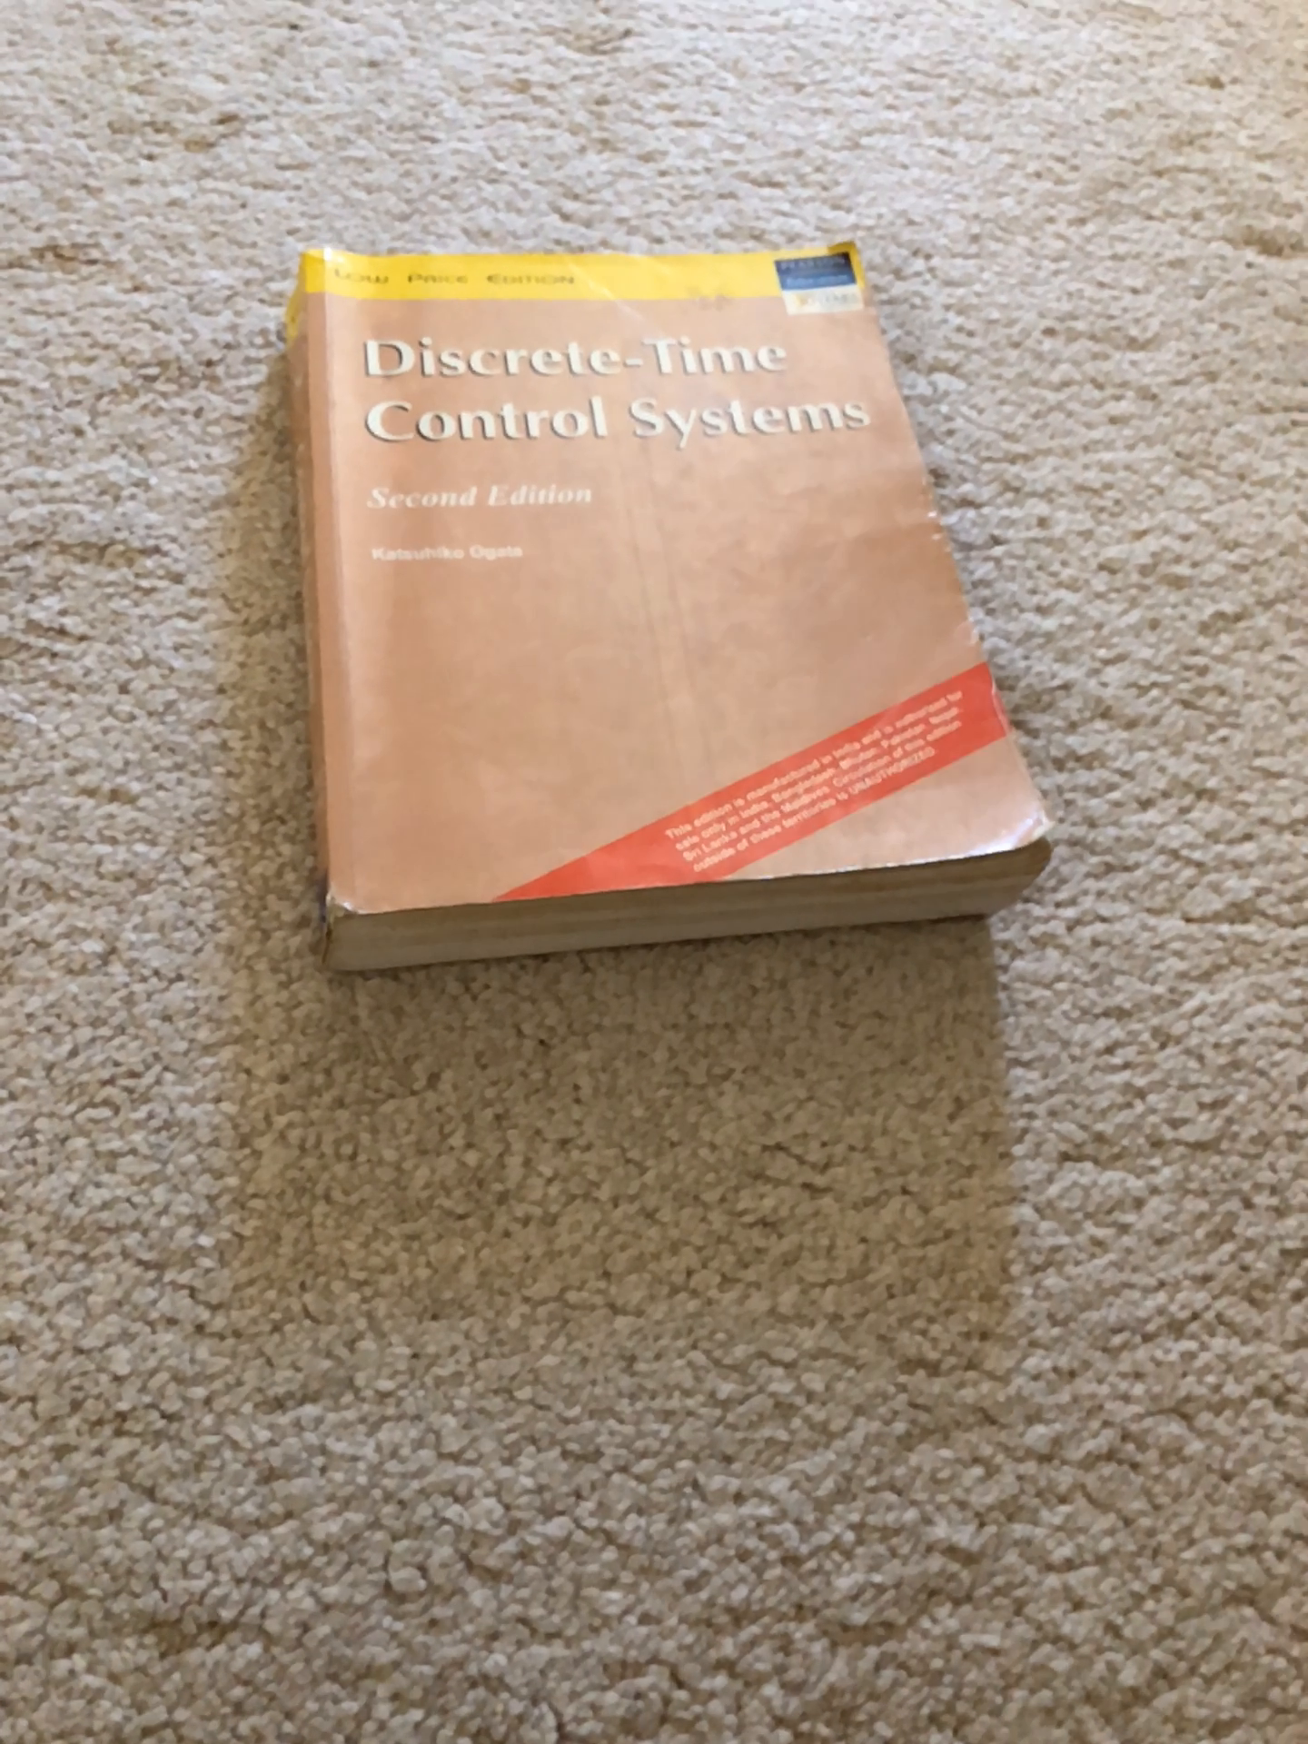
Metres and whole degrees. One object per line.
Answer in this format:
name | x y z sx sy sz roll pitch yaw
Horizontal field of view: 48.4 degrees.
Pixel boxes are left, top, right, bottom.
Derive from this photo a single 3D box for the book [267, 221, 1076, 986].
book | -0.009 -0.091 0.412 0.186 0.035 0.239 -4 60 -11
